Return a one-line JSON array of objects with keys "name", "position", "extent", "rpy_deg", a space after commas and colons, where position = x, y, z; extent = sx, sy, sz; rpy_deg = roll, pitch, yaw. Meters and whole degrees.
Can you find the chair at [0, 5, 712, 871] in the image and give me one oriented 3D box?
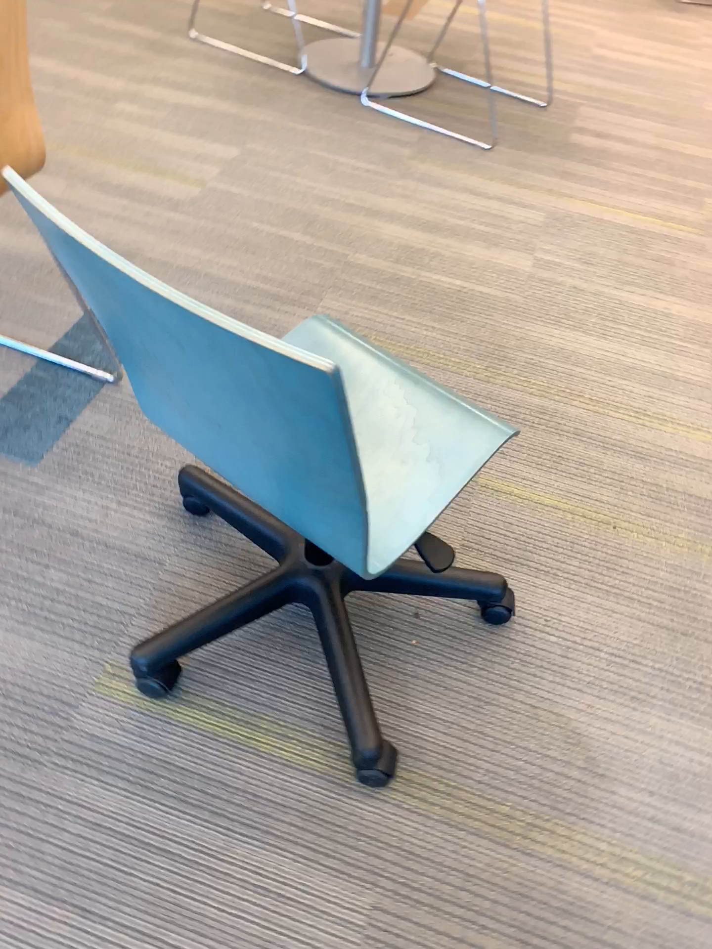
[{"name": "chair", "position": [-0.036, -0.065, 0.906], "extent": [0.601, 0.668, 0.611], "rpy_deg": [32, 52, 20]}]
